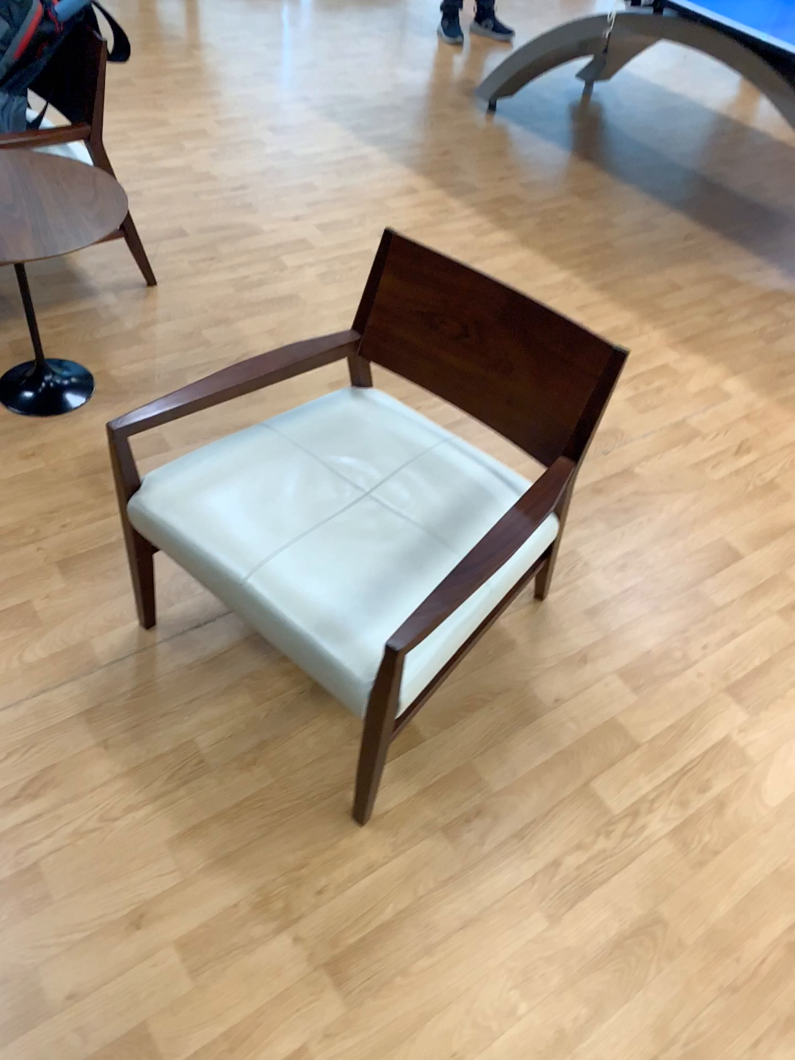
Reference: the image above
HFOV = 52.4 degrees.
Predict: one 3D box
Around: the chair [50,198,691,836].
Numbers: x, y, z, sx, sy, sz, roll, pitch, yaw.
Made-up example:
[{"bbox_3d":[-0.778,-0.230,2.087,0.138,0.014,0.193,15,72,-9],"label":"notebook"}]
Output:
[{"bbox_3d":[-0.048,-0.069,1.448,0.672,0.635,0.714,35,51,23],"label":"chair"}]
